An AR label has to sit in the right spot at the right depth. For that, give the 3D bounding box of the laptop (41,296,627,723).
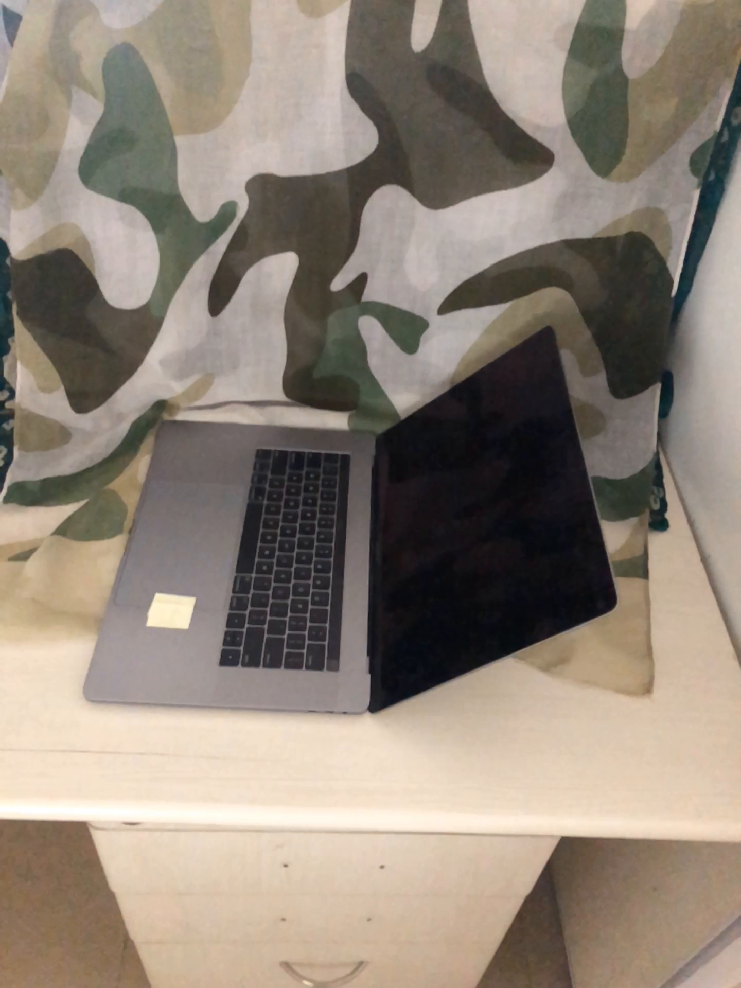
[{"bbox_3d":[-0.028,-0.002,0.738,0.402,0.165,0.343,3,45,-1],"label":"laptop"}]
